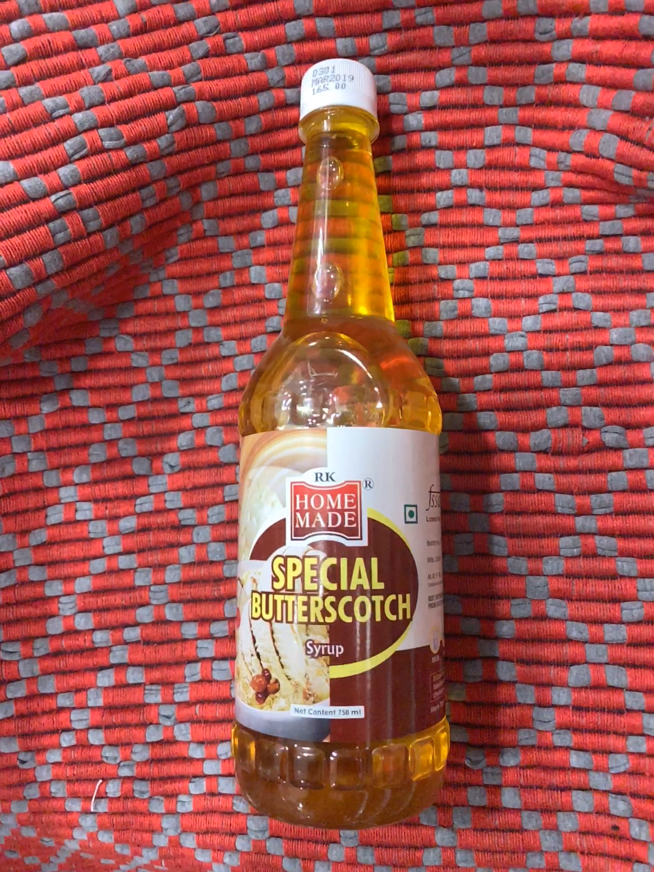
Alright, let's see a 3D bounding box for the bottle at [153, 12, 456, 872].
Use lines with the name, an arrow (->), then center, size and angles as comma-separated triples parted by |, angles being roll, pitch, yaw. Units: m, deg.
bottle -> -0.001, -0.005, 0.235 | 0.080, 0.060, 0.260 | -2, 78, 15
